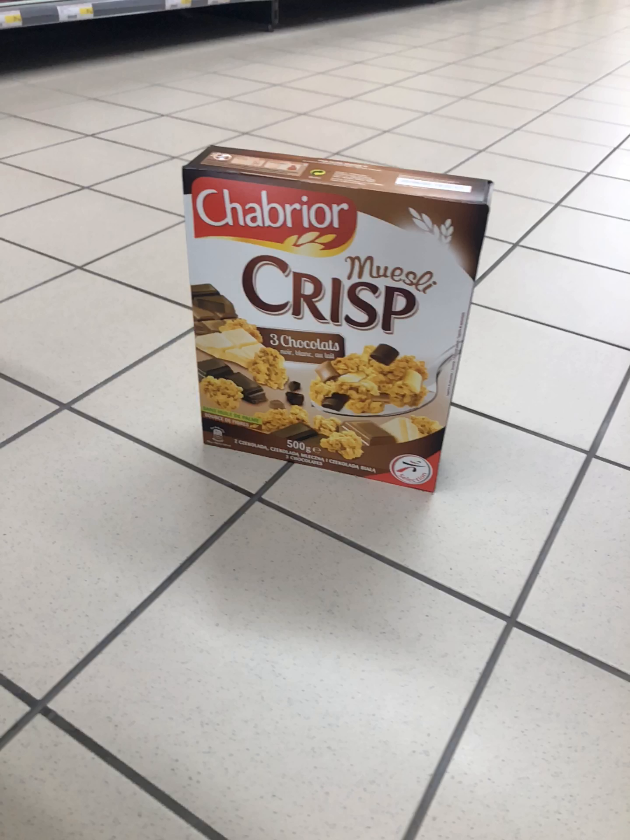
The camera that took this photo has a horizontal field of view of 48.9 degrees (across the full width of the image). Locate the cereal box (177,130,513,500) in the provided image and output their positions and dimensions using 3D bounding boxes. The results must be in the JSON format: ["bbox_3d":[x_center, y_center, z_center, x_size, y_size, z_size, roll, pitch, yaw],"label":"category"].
[{"bbox_3d":[0.015,-0.069,0.497,0.200,0.229,0.060,11,36,11],"label":"cereal box"}]
